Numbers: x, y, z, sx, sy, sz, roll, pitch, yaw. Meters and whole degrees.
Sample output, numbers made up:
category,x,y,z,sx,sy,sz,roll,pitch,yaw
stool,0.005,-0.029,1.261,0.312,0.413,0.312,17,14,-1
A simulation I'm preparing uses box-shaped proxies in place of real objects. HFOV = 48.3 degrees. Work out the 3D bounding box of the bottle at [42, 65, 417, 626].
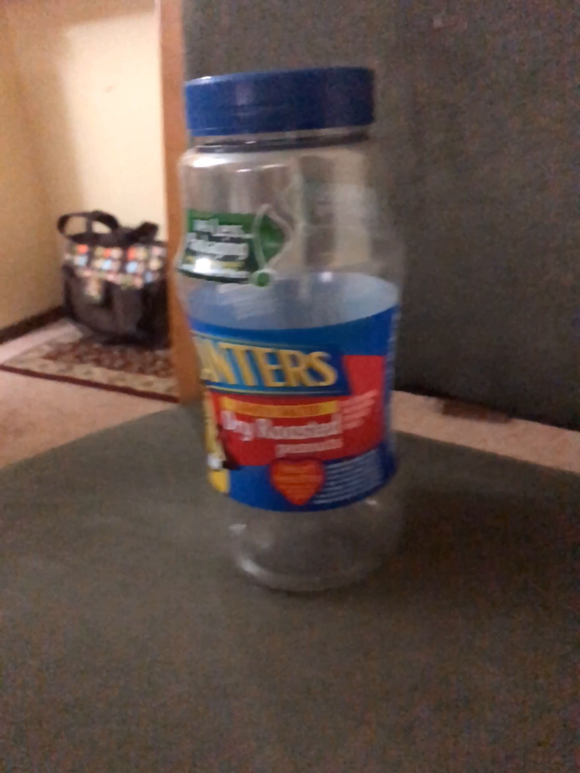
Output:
category,x,y,z,sx,sy,sz,roll,pitch,yaw
bottle,-0.013,-0.020,0.240,0.090,0.170,0.080,15,30,38
